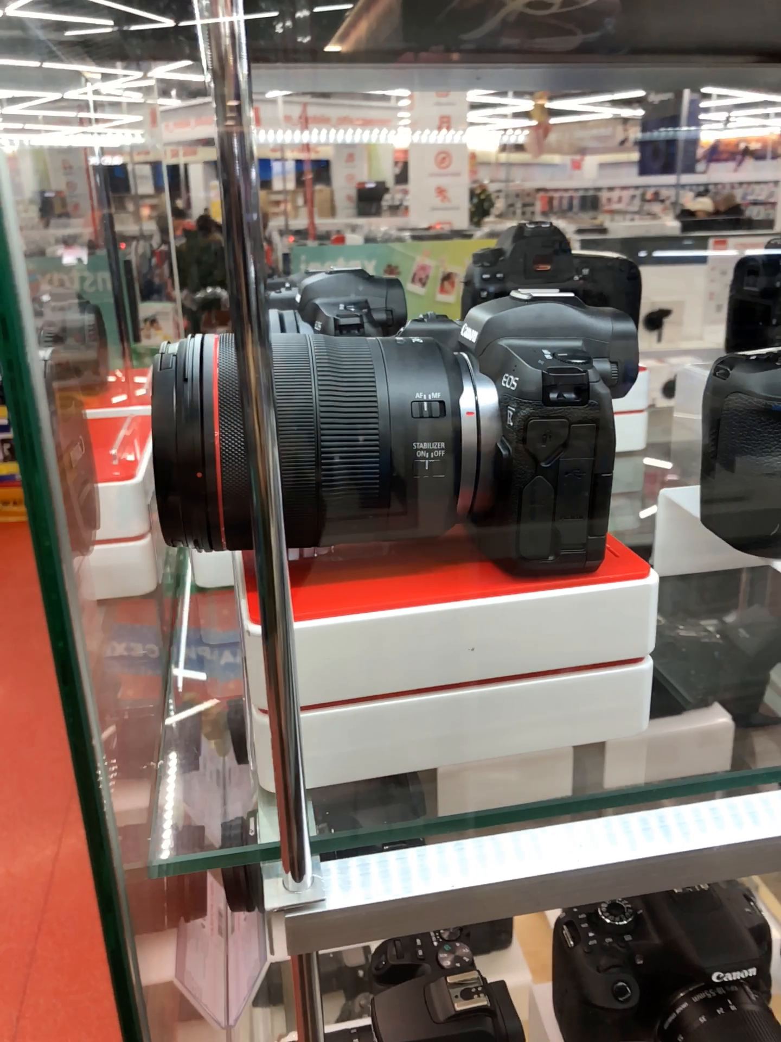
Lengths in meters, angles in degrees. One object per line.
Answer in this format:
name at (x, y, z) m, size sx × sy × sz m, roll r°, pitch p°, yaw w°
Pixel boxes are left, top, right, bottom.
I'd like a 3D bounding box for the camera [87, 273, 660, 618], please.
camera at (-0.013, -0.044, 0.350) m, size 0.180 × 0.093 × 0.145 m, roll -5°, pitch 20°, yaw -10°
